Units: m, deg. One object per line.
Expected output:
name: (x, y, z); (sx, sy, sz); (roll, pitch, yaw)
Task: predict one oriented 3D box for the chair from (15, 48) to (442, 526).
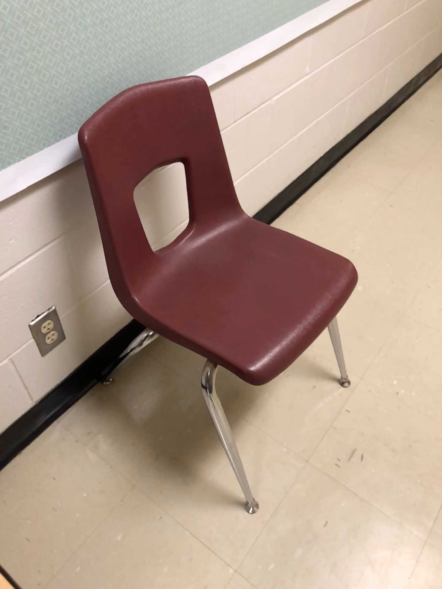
chair: (0.044, -0.018, 1.037); (0.555, 0.707, 0.505); (31, 53, 26)
